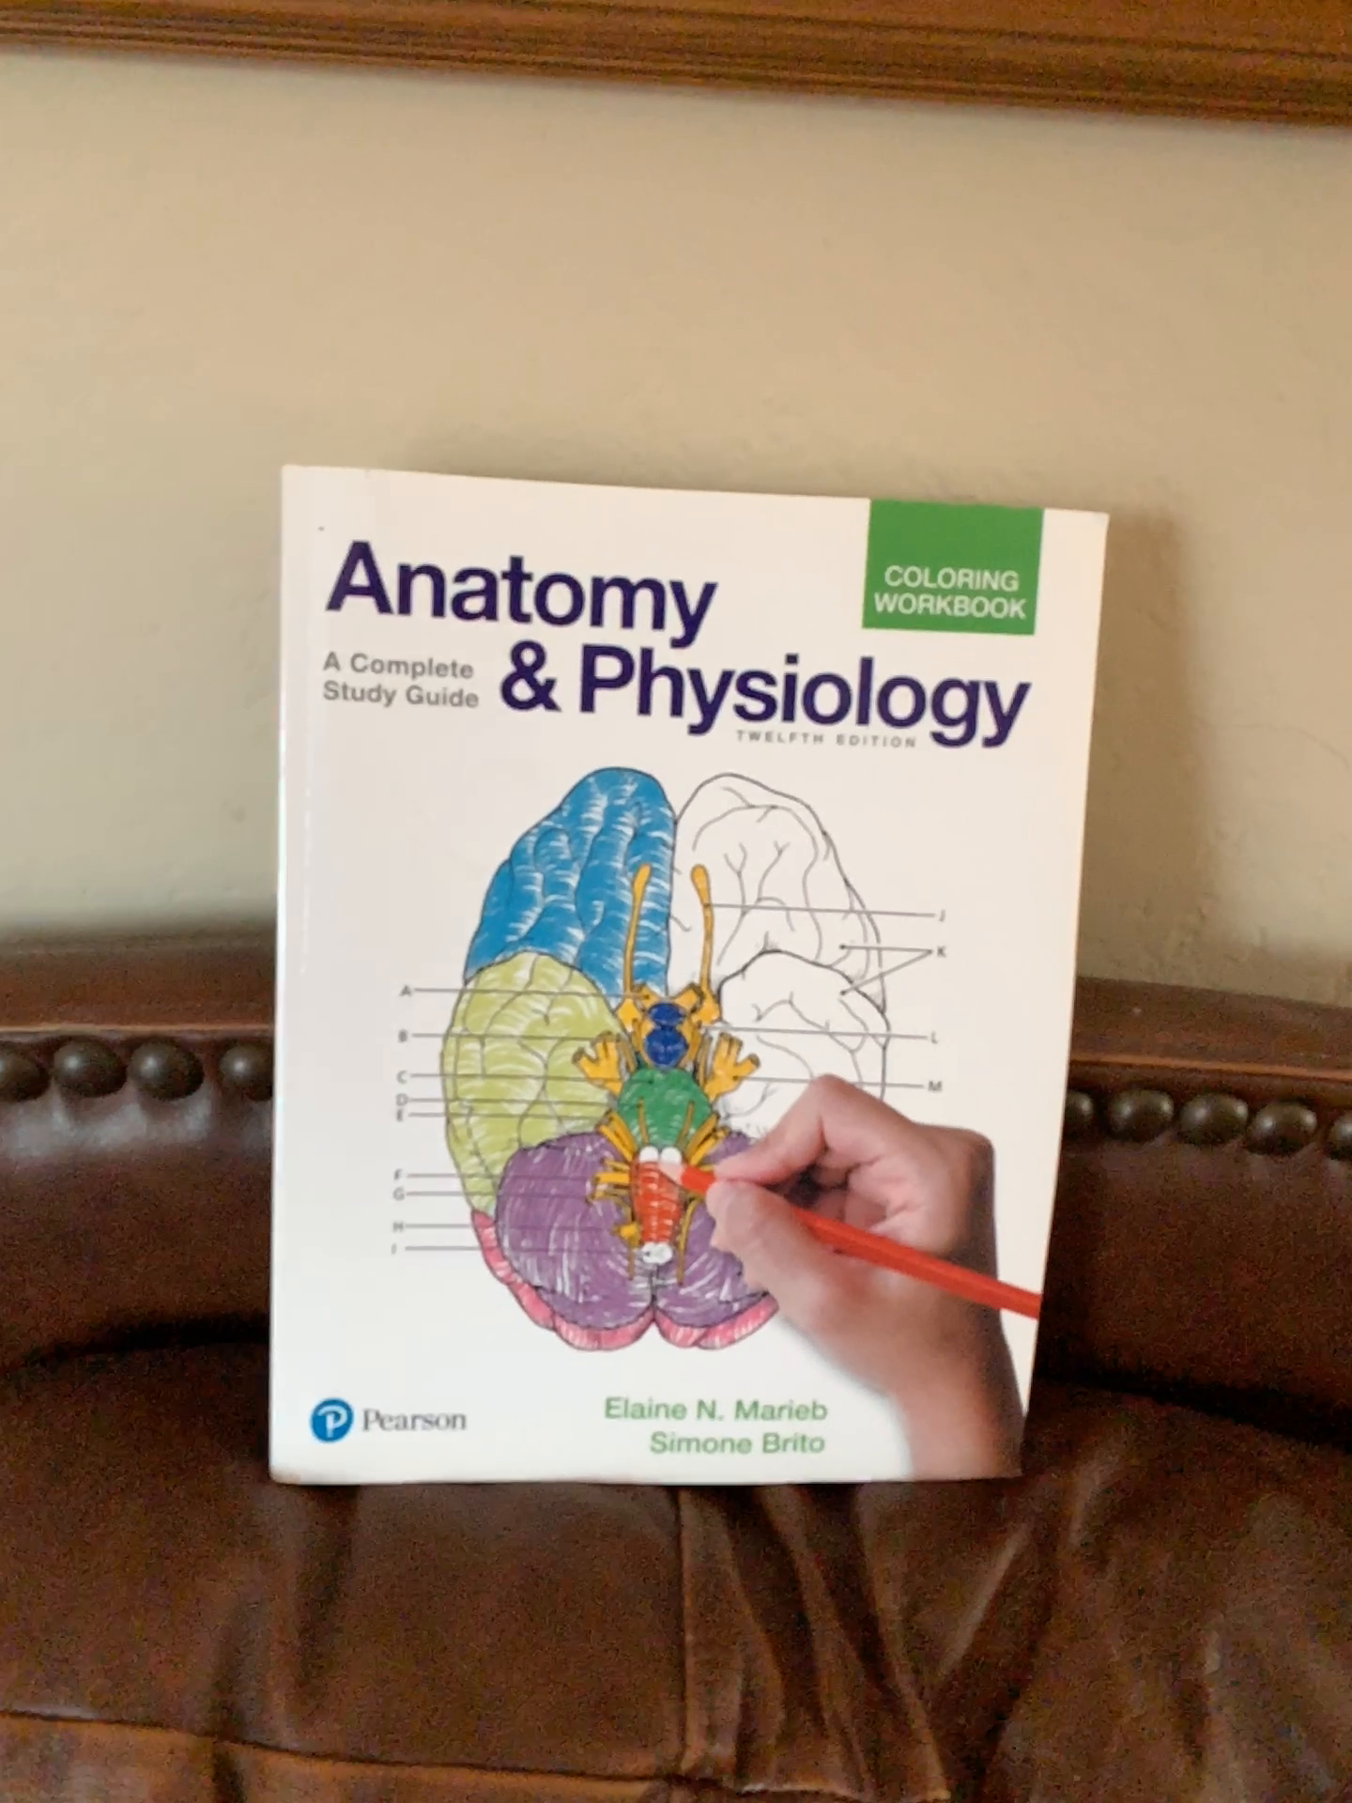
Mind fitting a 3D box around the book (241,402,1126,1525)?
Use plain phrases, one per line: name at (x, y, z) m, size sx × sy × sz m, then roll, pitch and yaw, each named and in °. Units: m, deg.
book at (0.000, 0.020, 0.388) m, size 0.220 × 0.290 × 0.060 m, roll 1°, pitch 6°, yaw -4°
